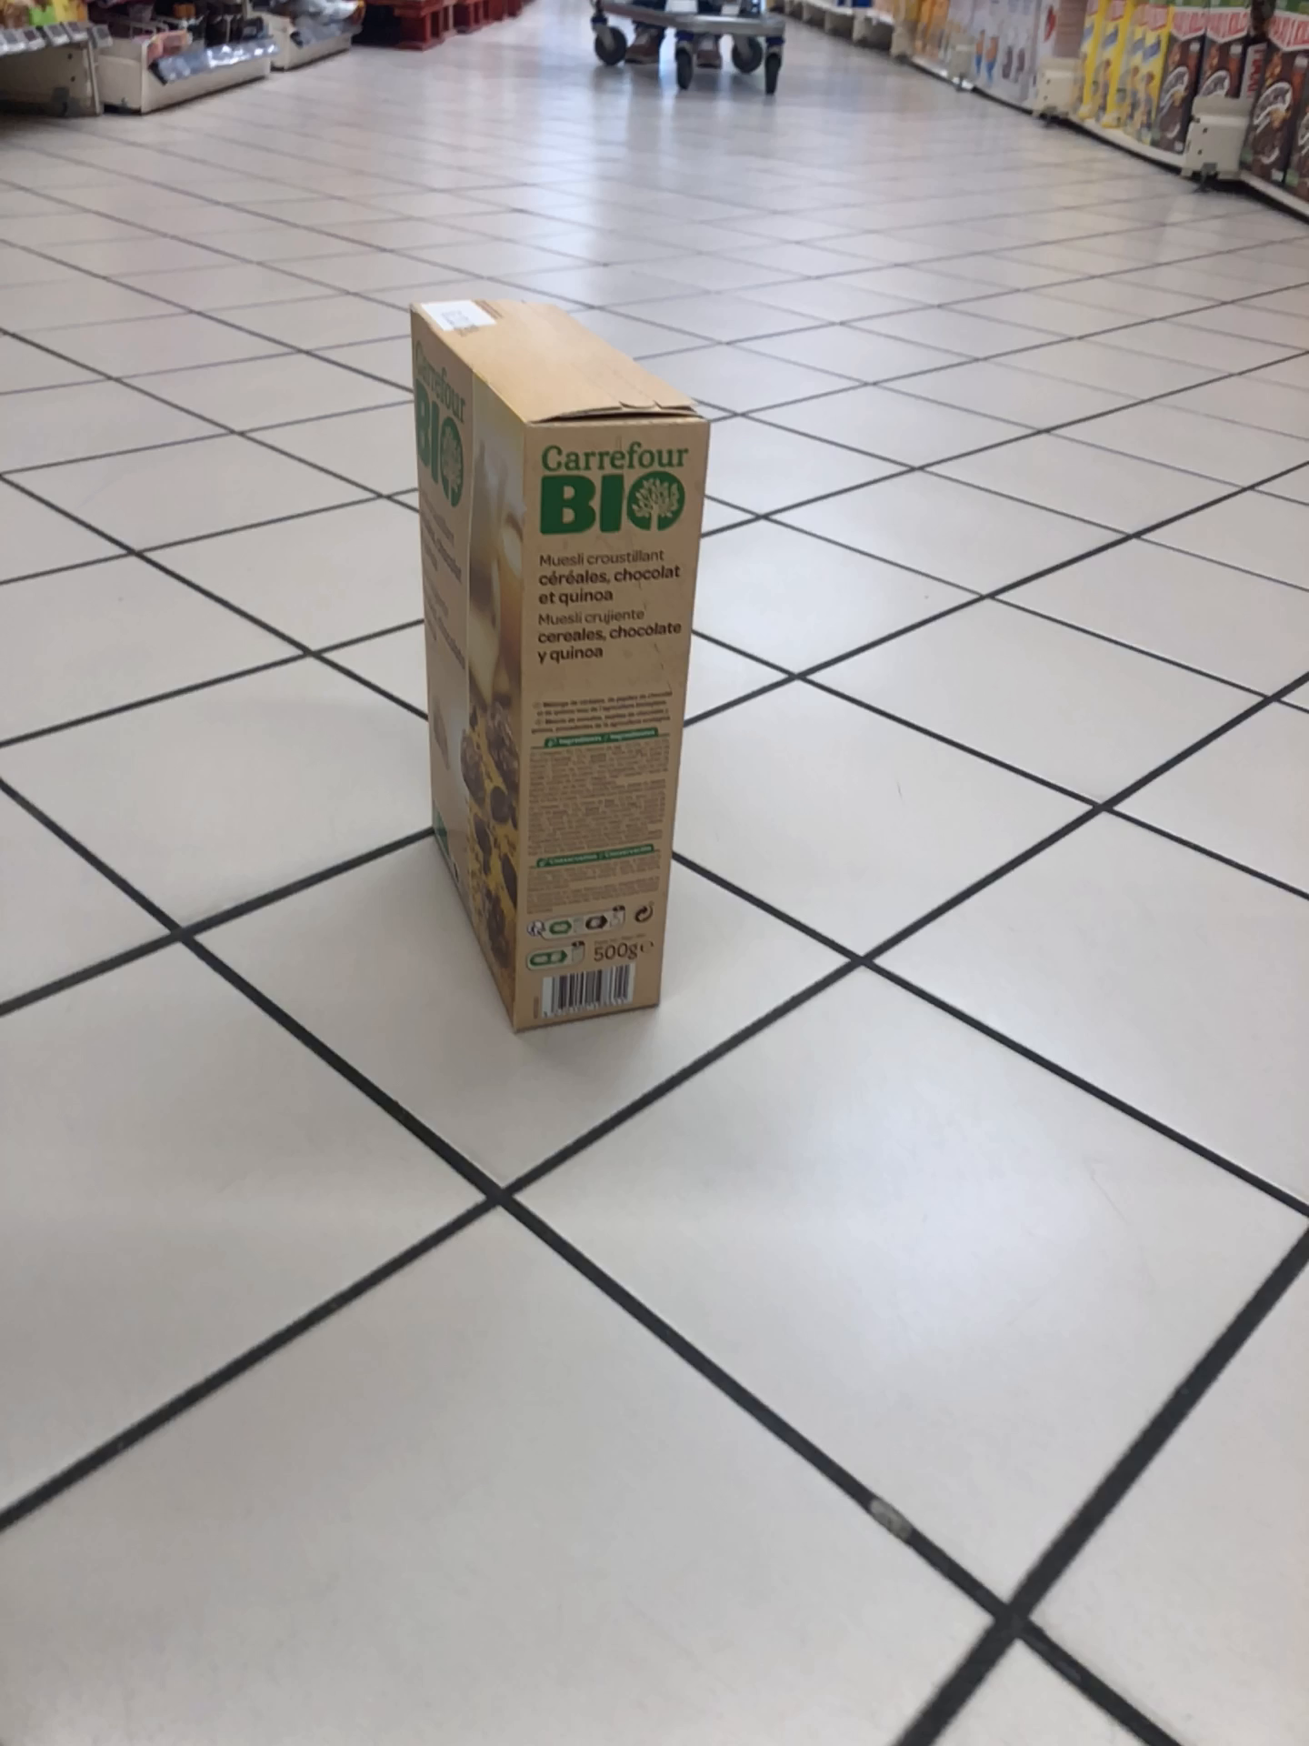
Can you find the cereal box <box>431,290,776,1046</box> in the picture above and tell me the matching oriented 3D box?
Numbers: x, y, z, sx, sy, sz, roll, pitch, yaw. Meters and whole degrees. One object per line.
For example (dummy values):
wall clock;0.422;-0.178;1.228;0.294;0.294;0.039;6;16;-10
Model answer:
cereal box;-0.032;-0.082;0.544;0.070;0.229;0.171;-7;33;-18
